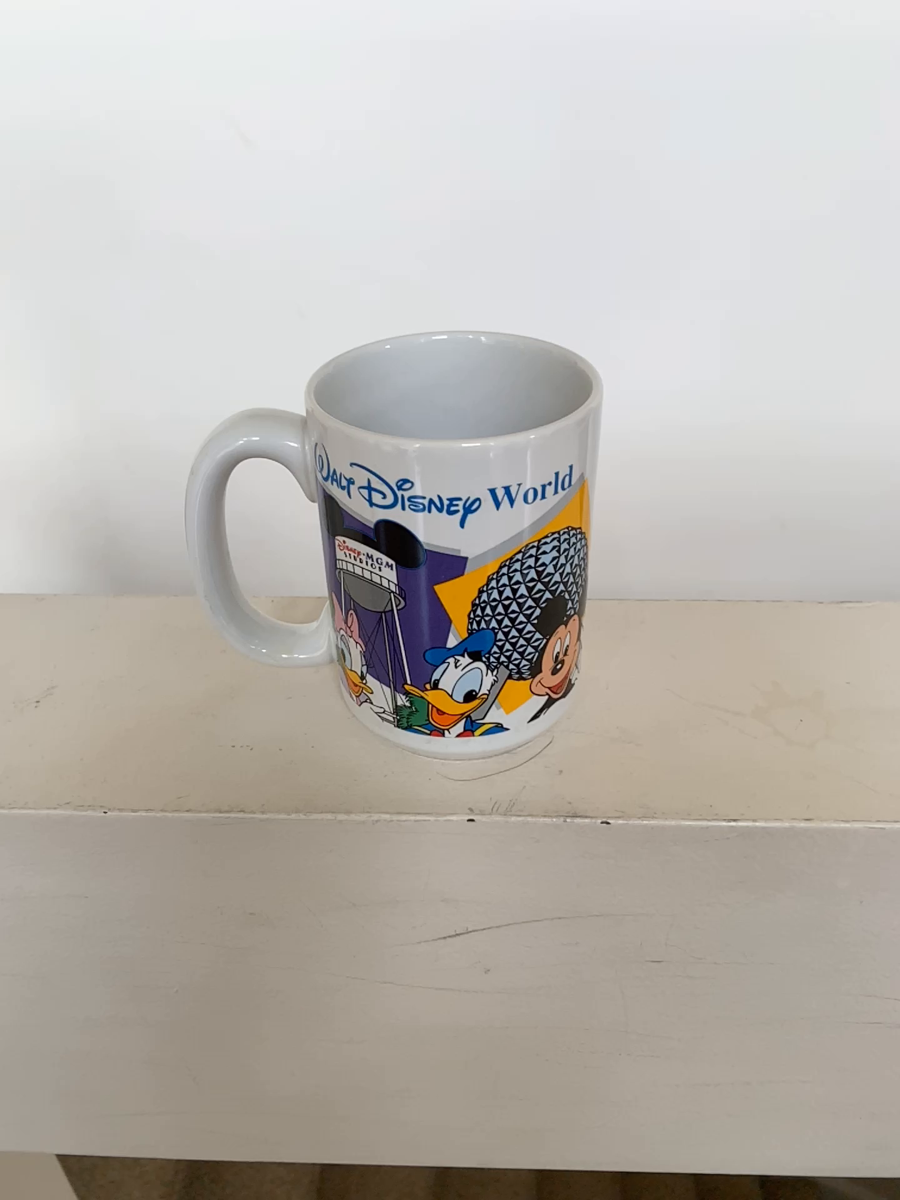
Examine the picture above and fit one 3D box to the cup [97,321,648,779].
[{"bbox_3d":[-0.015,-0.019,0.294,0.140,0.109,0.080,4,34,8],"label":"cup"}]
